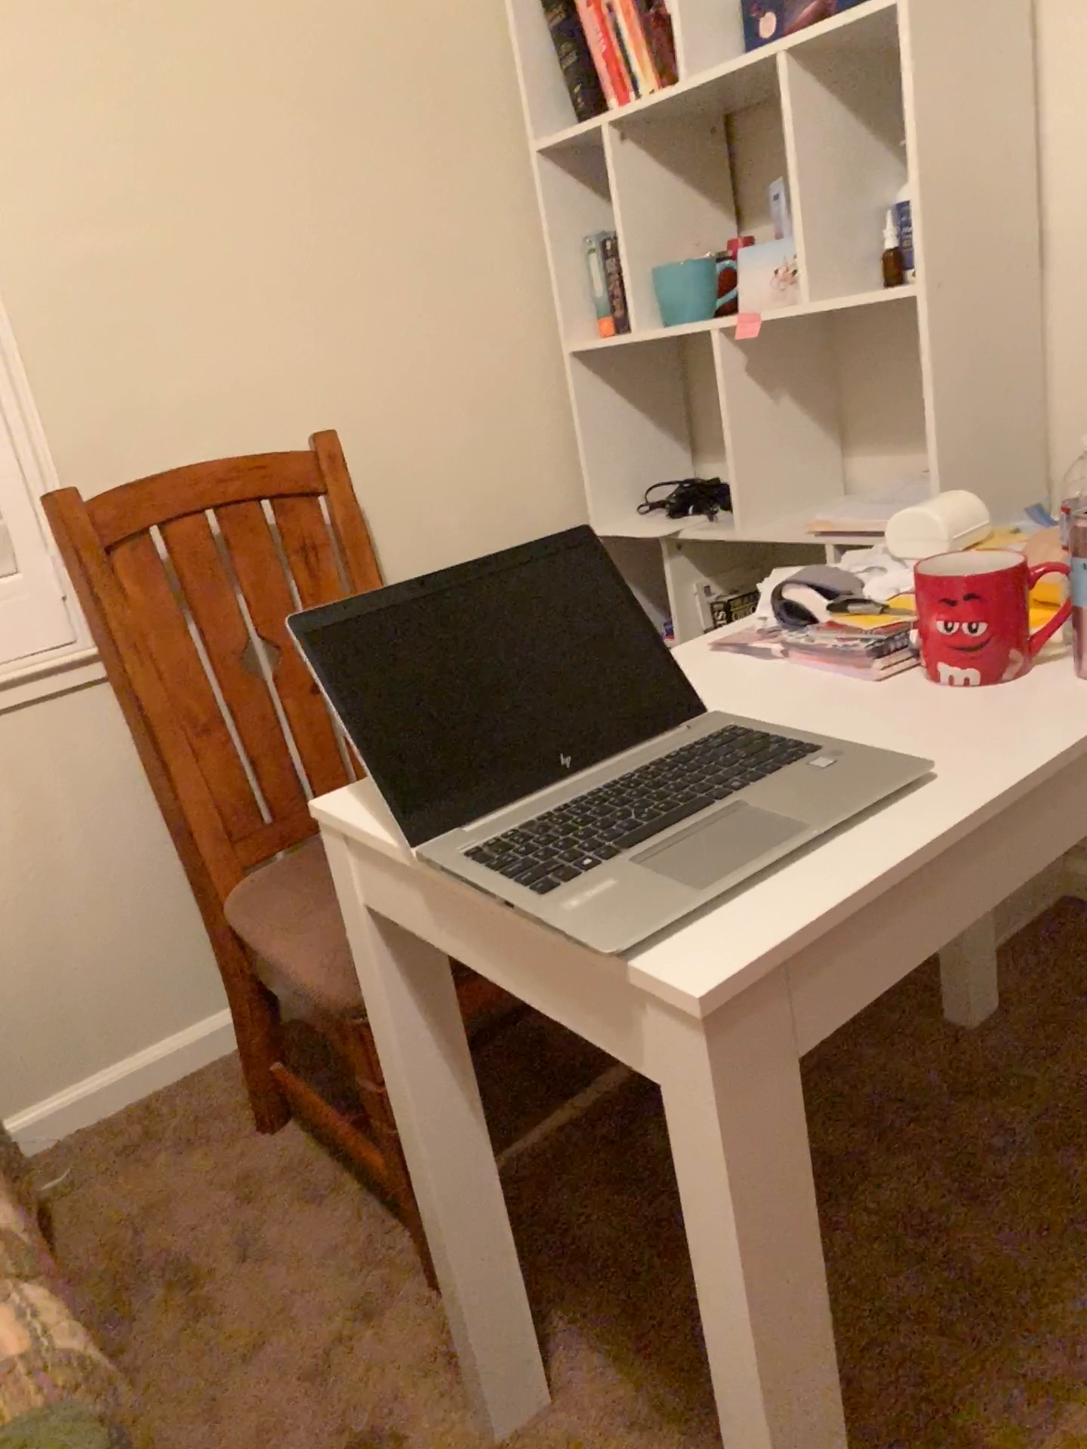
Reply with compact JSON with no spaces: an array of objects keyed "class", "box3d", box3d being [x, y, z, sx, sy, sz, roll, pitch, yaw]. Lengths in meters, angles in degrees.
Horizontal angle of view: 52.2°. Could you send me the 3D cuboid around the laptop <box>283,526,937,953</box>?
[{"class":"laptop","box3d":[0.039,-0.028,0.828,0.311,0.159,0.365,-22,22,-32]}]
